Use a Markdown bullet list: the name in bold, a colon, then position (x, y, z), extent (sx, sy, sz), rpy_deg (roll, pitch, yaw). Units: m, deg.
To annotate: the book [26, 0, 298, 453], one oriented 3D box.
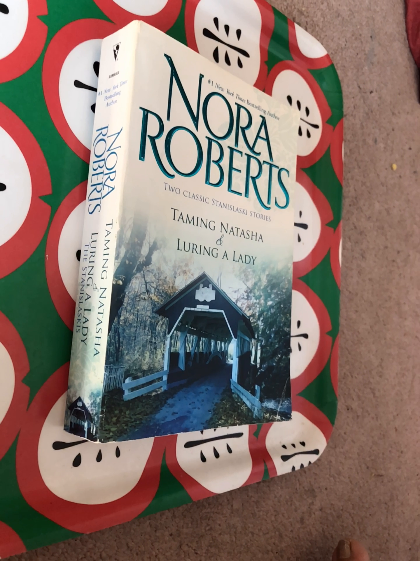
- **book**: position (-0.016, -0.027, 0.270), extent (0.141, 0.040, 0.220), rpy_deg (9, 84, -42)
